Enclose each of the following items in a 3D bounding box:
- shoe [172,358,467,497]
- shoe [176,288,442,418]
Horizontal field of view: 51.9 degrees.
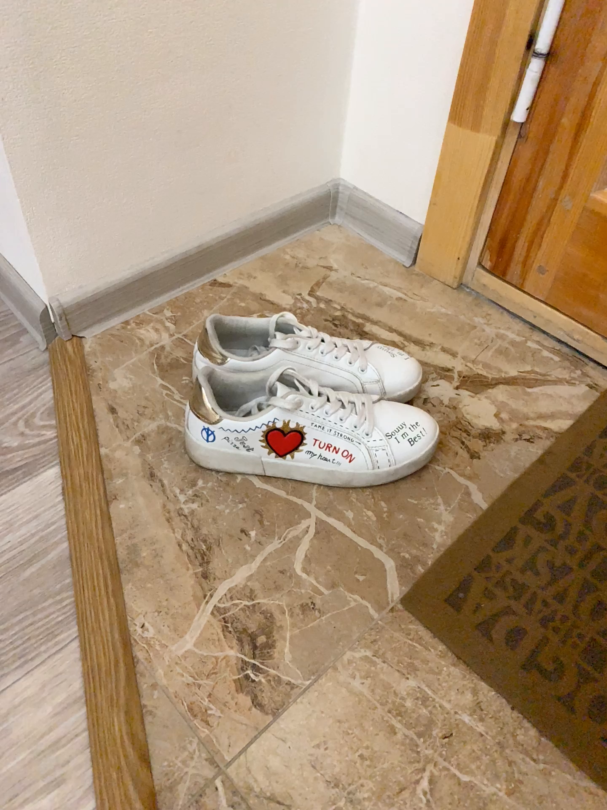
[{"bbox_3d":[0.013,0.022,0.601,0.256,0.080,0.093,3,46,-2],"label":"shoe"},{"bbox_3d":[0.005,-0.055,0.660,0.256,0.080,0.093,4,46,-2],"label":"shoe"}]
